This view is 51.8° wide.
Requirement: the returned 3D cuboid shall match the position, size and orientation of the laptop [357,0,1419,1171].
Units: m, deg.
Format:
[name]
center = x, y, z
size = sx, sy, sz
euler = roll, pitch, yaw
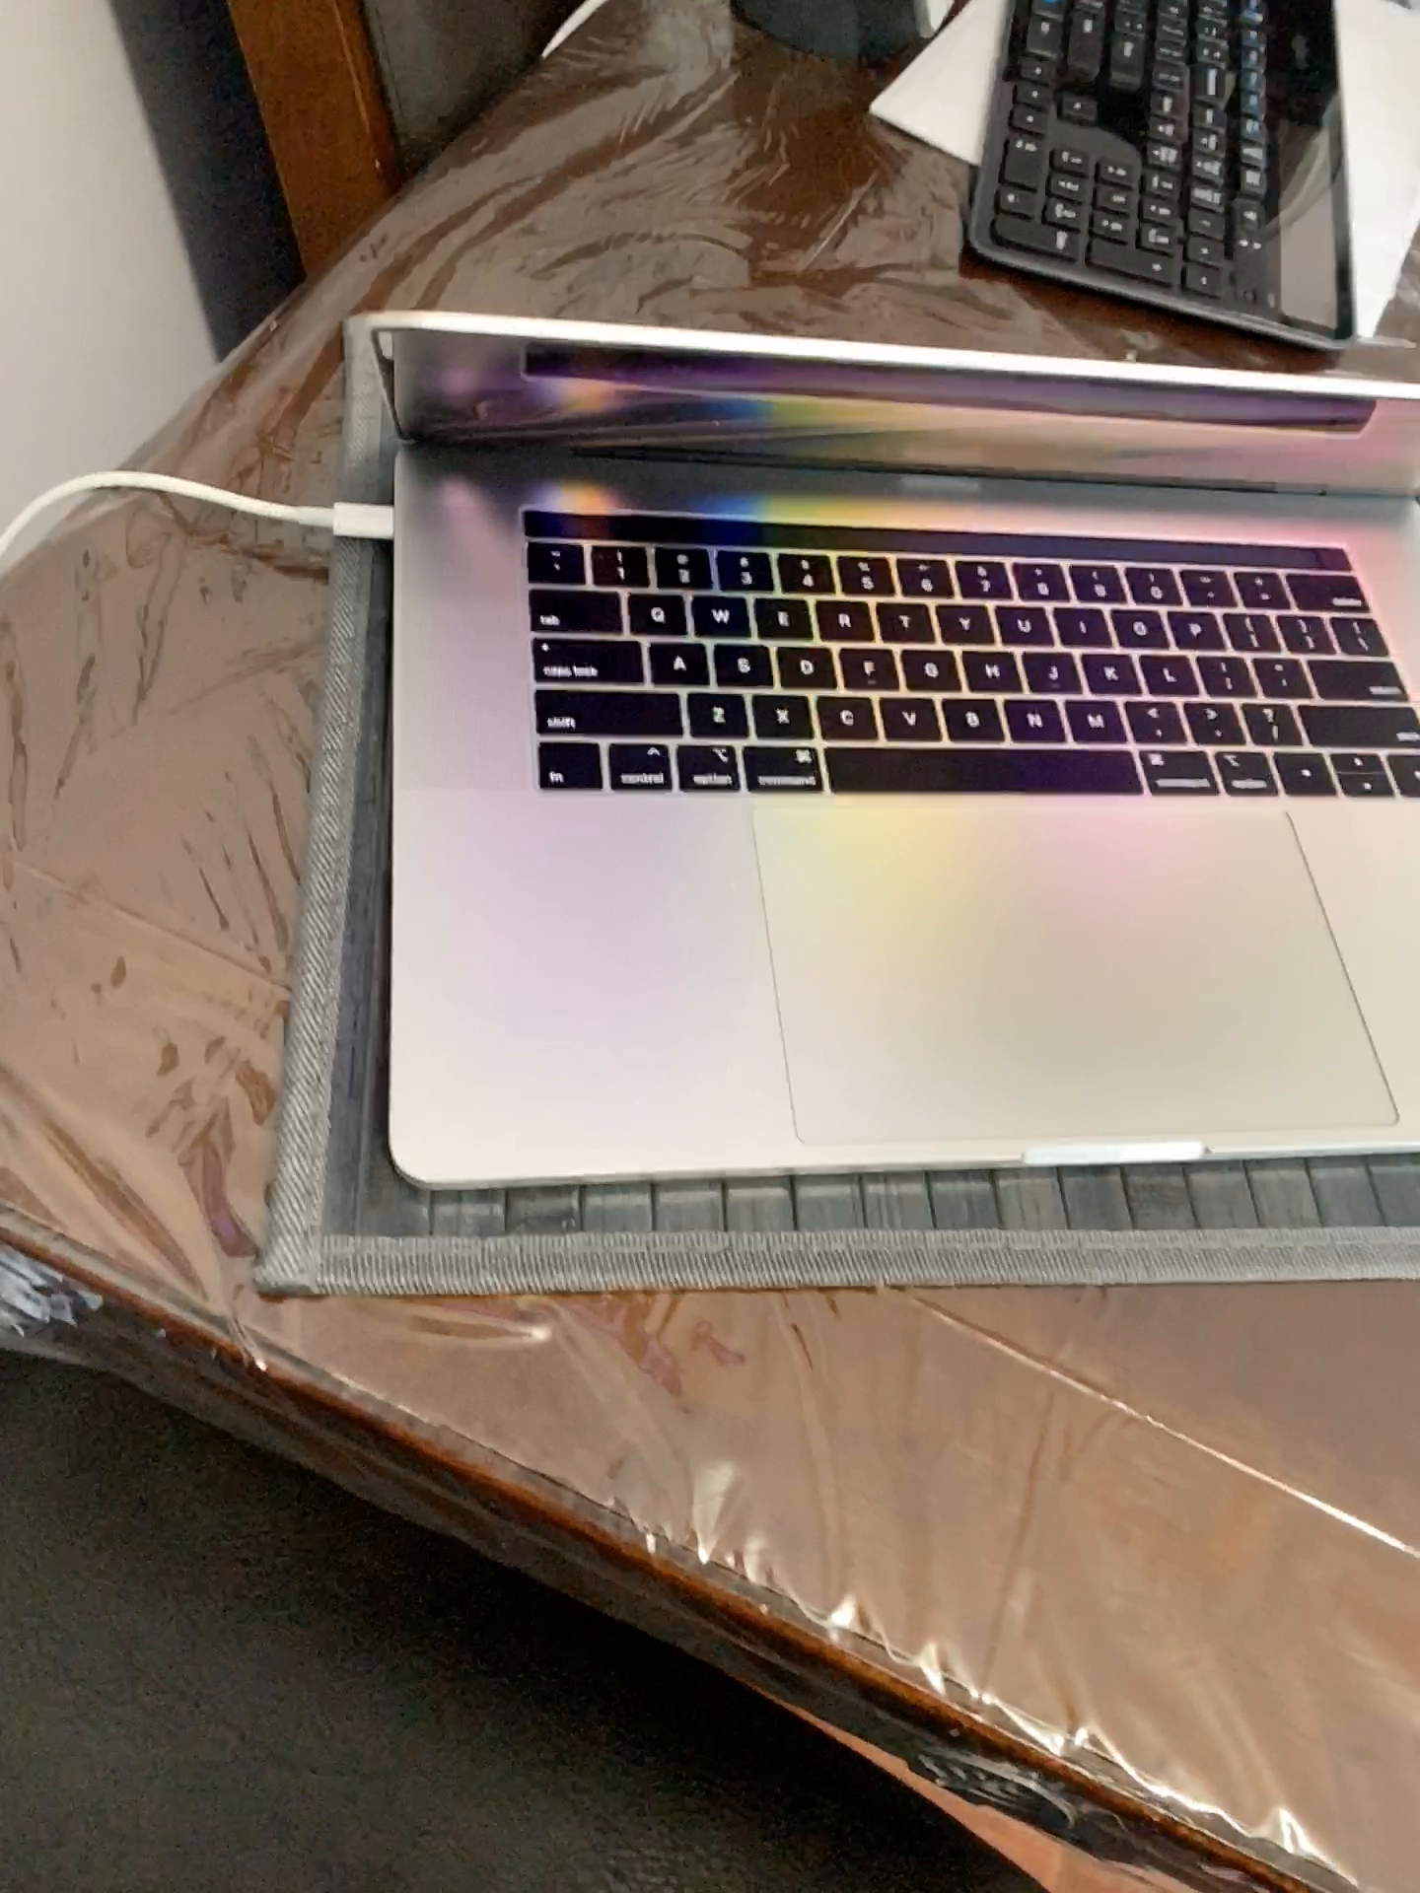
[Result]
[laptop]
center = 0.098, -0.094, 0.346
size = 0.339, 0.164, 0.234
euler = 0, 59, -11
